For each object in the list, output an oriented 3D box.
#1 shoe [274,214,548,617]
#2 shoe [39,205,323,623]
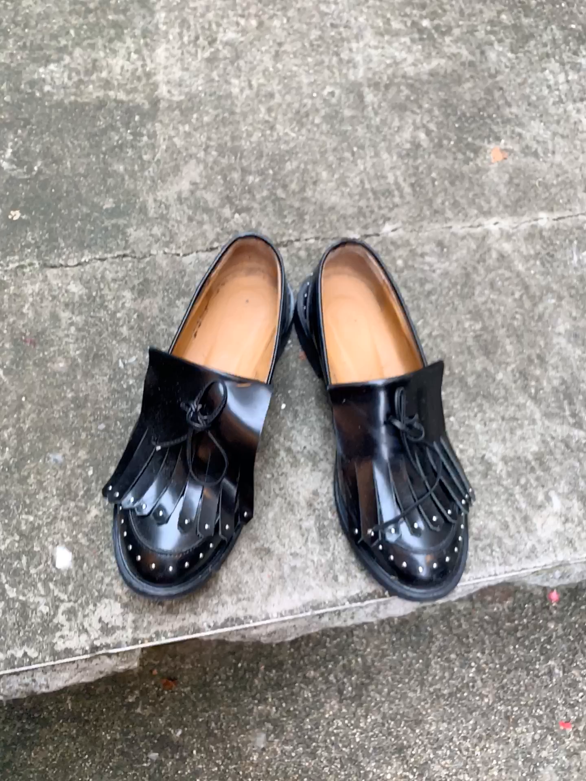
[{"bbox_3d":[0.062,0.009,0.407,0.093,0.080,0.249,-9,65,-11],"label":"shoe"},{"bbox_3d":[-0.056,0.008,0.394,0.093,0.080,0.247,14,64,3],"label":"shoe"}]
